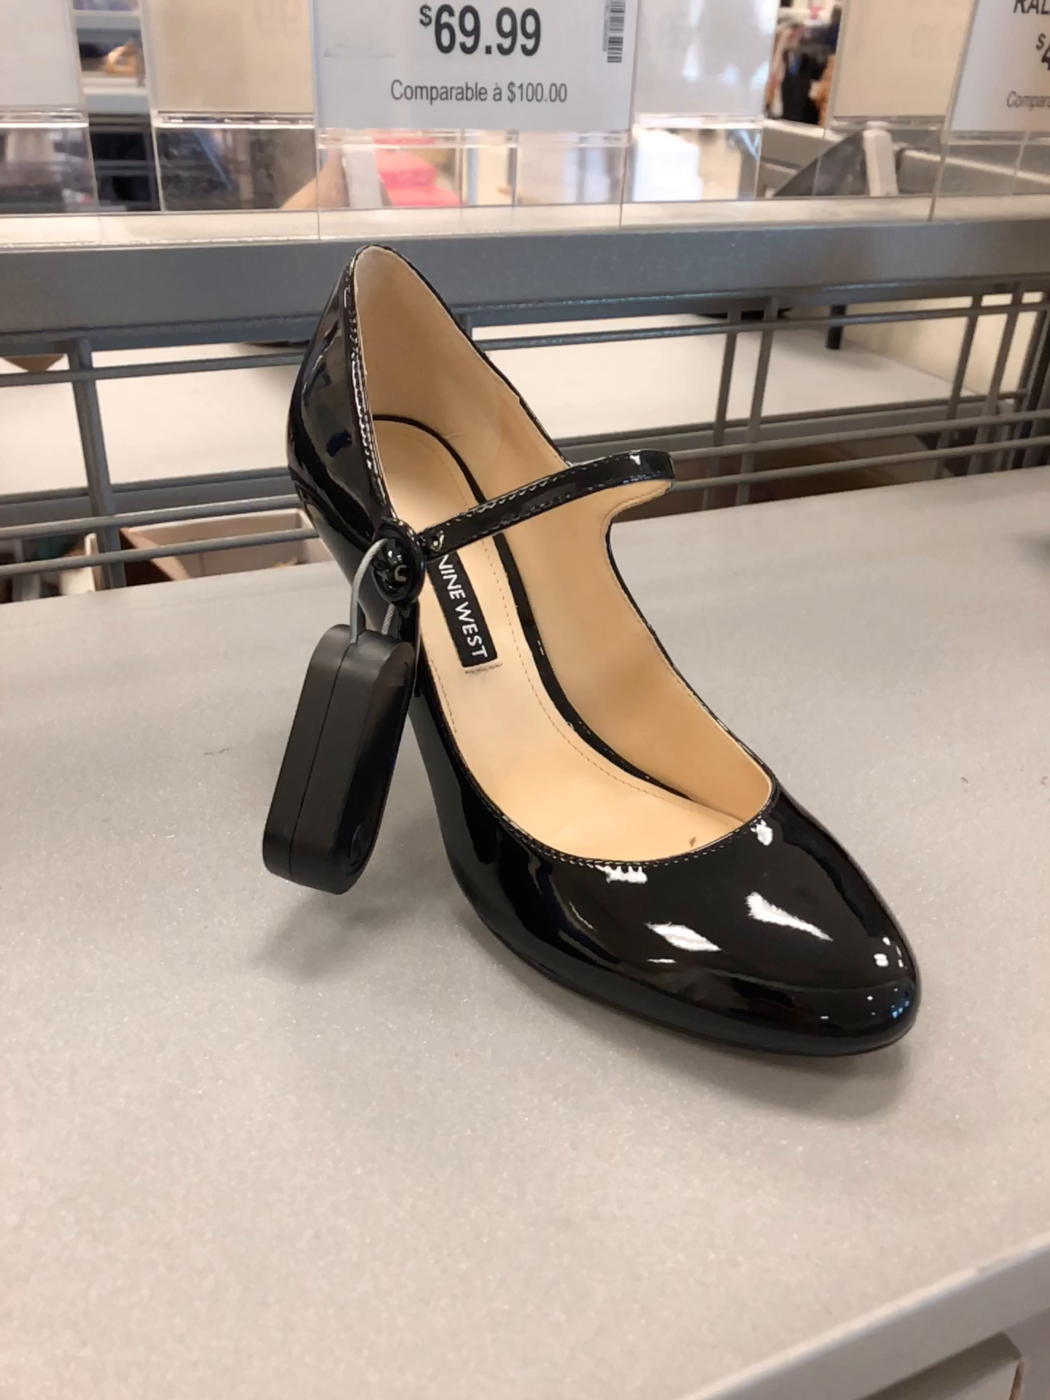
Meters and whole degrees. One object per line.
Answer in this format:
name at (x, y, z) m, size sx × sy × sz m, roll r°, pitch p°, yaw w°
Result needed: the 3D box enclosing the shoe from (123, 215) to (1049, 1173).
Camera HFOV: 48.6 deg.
shoe at (-0.003, -0.030, 0.322) m, size 0.090 × 0.151 × 0.257 m, roll -22°, pitch 39°, yaw -35°
